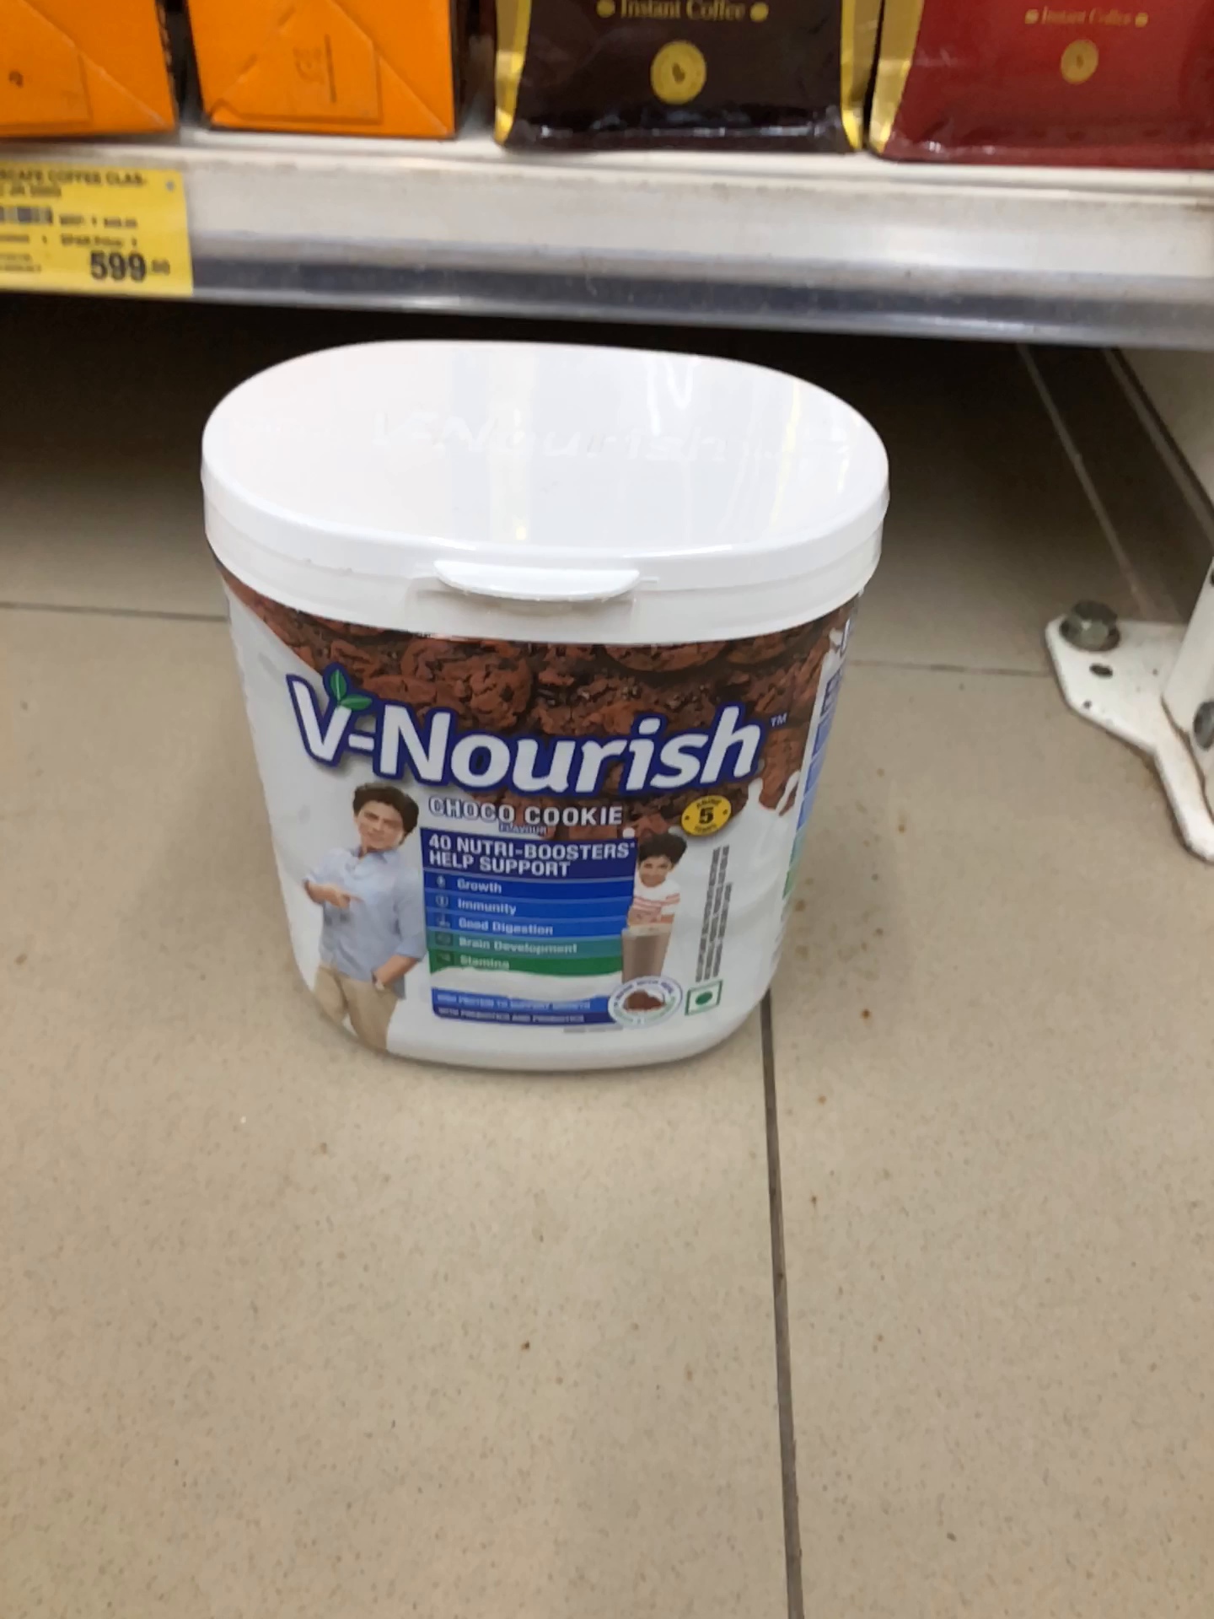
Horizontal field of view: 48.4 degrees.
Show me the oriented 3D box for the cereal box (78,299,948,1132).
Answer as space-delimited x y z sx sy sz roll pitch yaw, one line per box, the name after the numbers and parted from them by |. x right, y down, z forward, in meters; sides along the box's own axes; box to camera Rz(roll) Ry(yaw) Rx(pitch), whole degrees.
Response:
-0.016 -0.018 0.304 0.140 0.149 0.101 3 41 0 | cereal box
